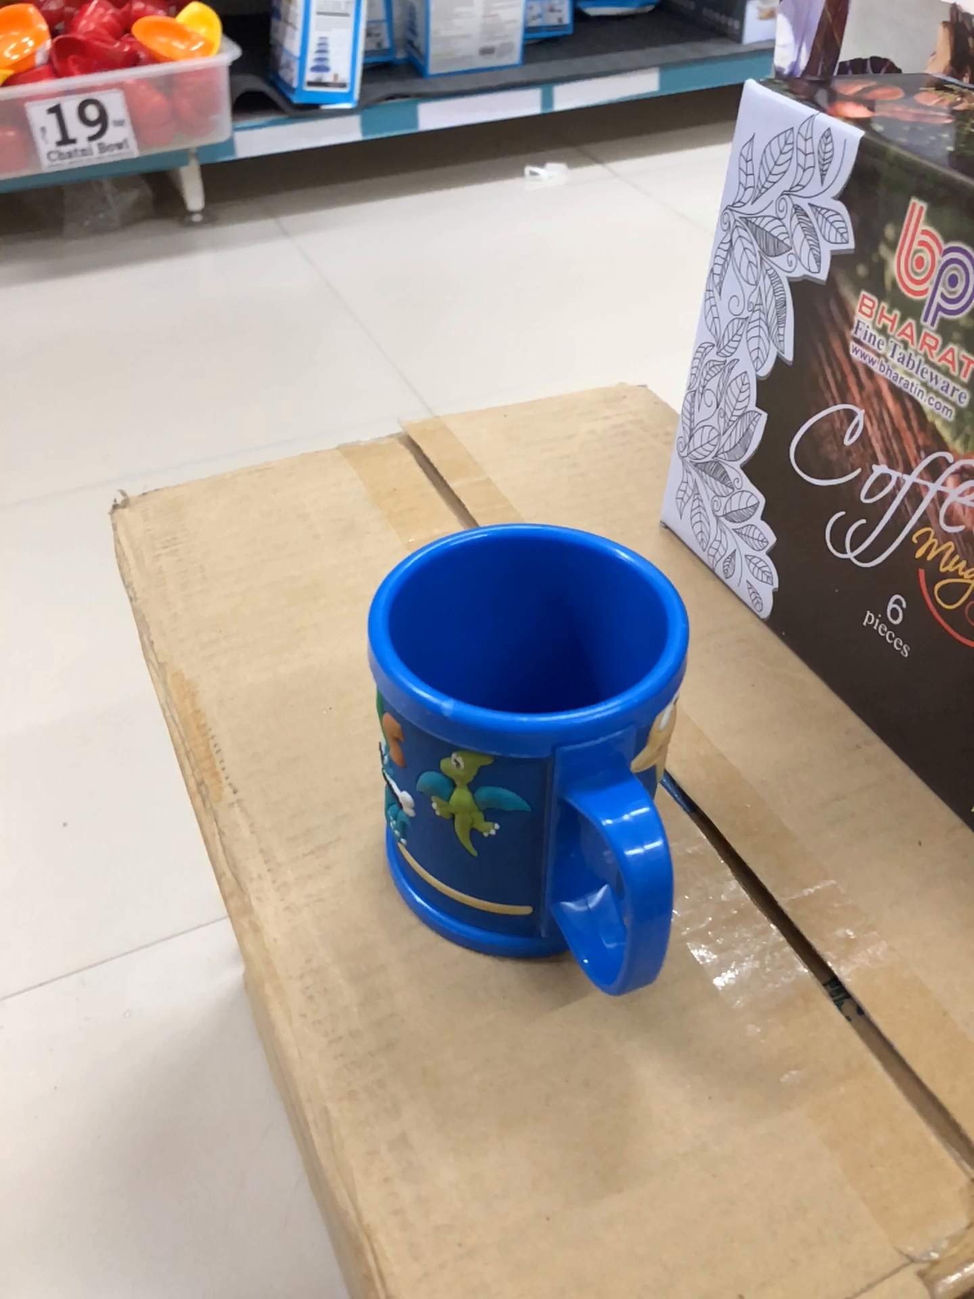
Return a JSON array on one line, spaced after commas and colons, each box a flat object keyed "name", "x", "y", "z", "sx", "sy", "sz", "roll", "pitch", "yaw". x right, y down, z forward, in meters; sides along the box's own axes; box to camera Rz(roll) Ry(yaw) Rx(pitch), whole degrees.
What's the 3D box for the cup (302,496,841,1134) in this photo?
[{"name": "cup", "x": 0.013, "y": 0.037, "z": 0.287, "sx": 0.090, "sy": 0.089, "sz": 0.121, "roll": -13, "pitch": 43, "yaw": -14}]
